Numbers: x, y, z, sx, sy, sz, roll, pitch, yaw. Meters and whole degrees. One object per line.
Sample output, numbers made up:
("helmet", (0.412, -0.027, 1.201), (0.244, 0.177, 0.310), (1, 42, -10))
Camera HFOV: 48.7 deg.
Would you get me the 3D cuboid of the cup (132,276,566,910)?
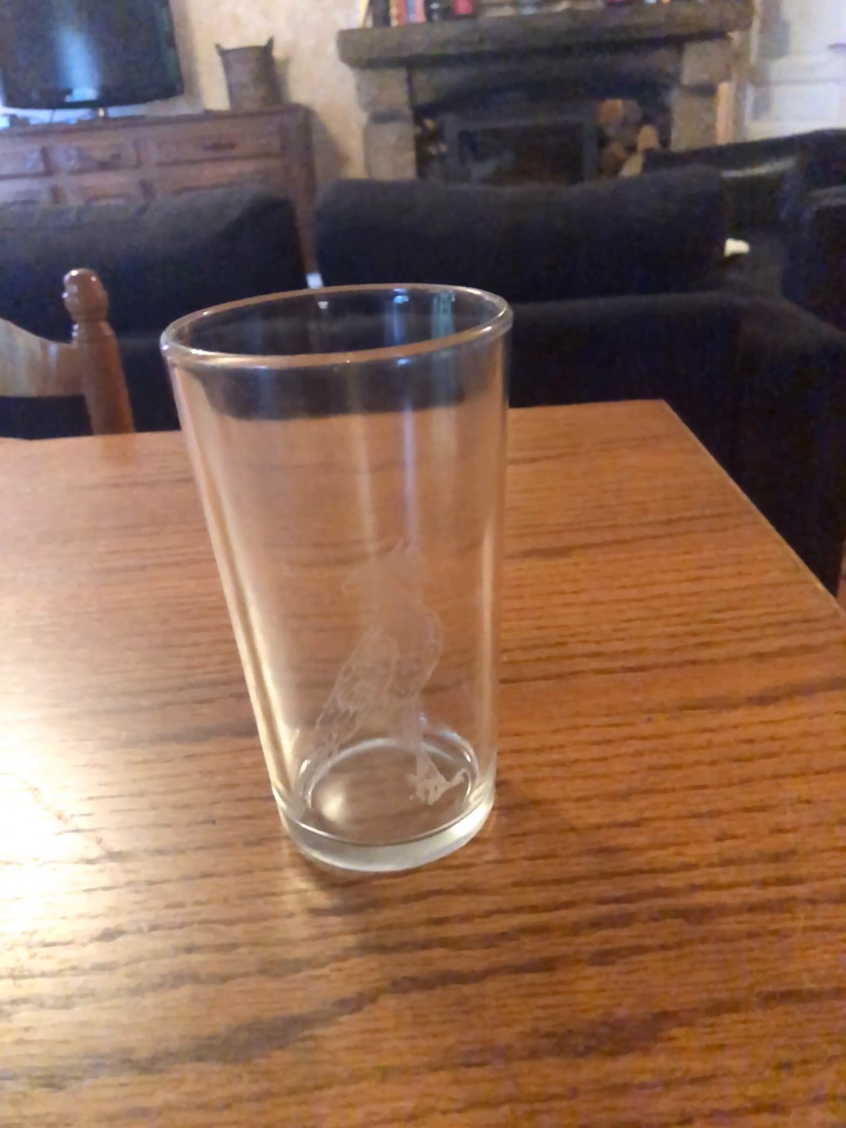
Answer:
("cup", (-0.018, 0.003, 0.267), (0.091, 0.144, 0.090), (-4, 25, 2))
